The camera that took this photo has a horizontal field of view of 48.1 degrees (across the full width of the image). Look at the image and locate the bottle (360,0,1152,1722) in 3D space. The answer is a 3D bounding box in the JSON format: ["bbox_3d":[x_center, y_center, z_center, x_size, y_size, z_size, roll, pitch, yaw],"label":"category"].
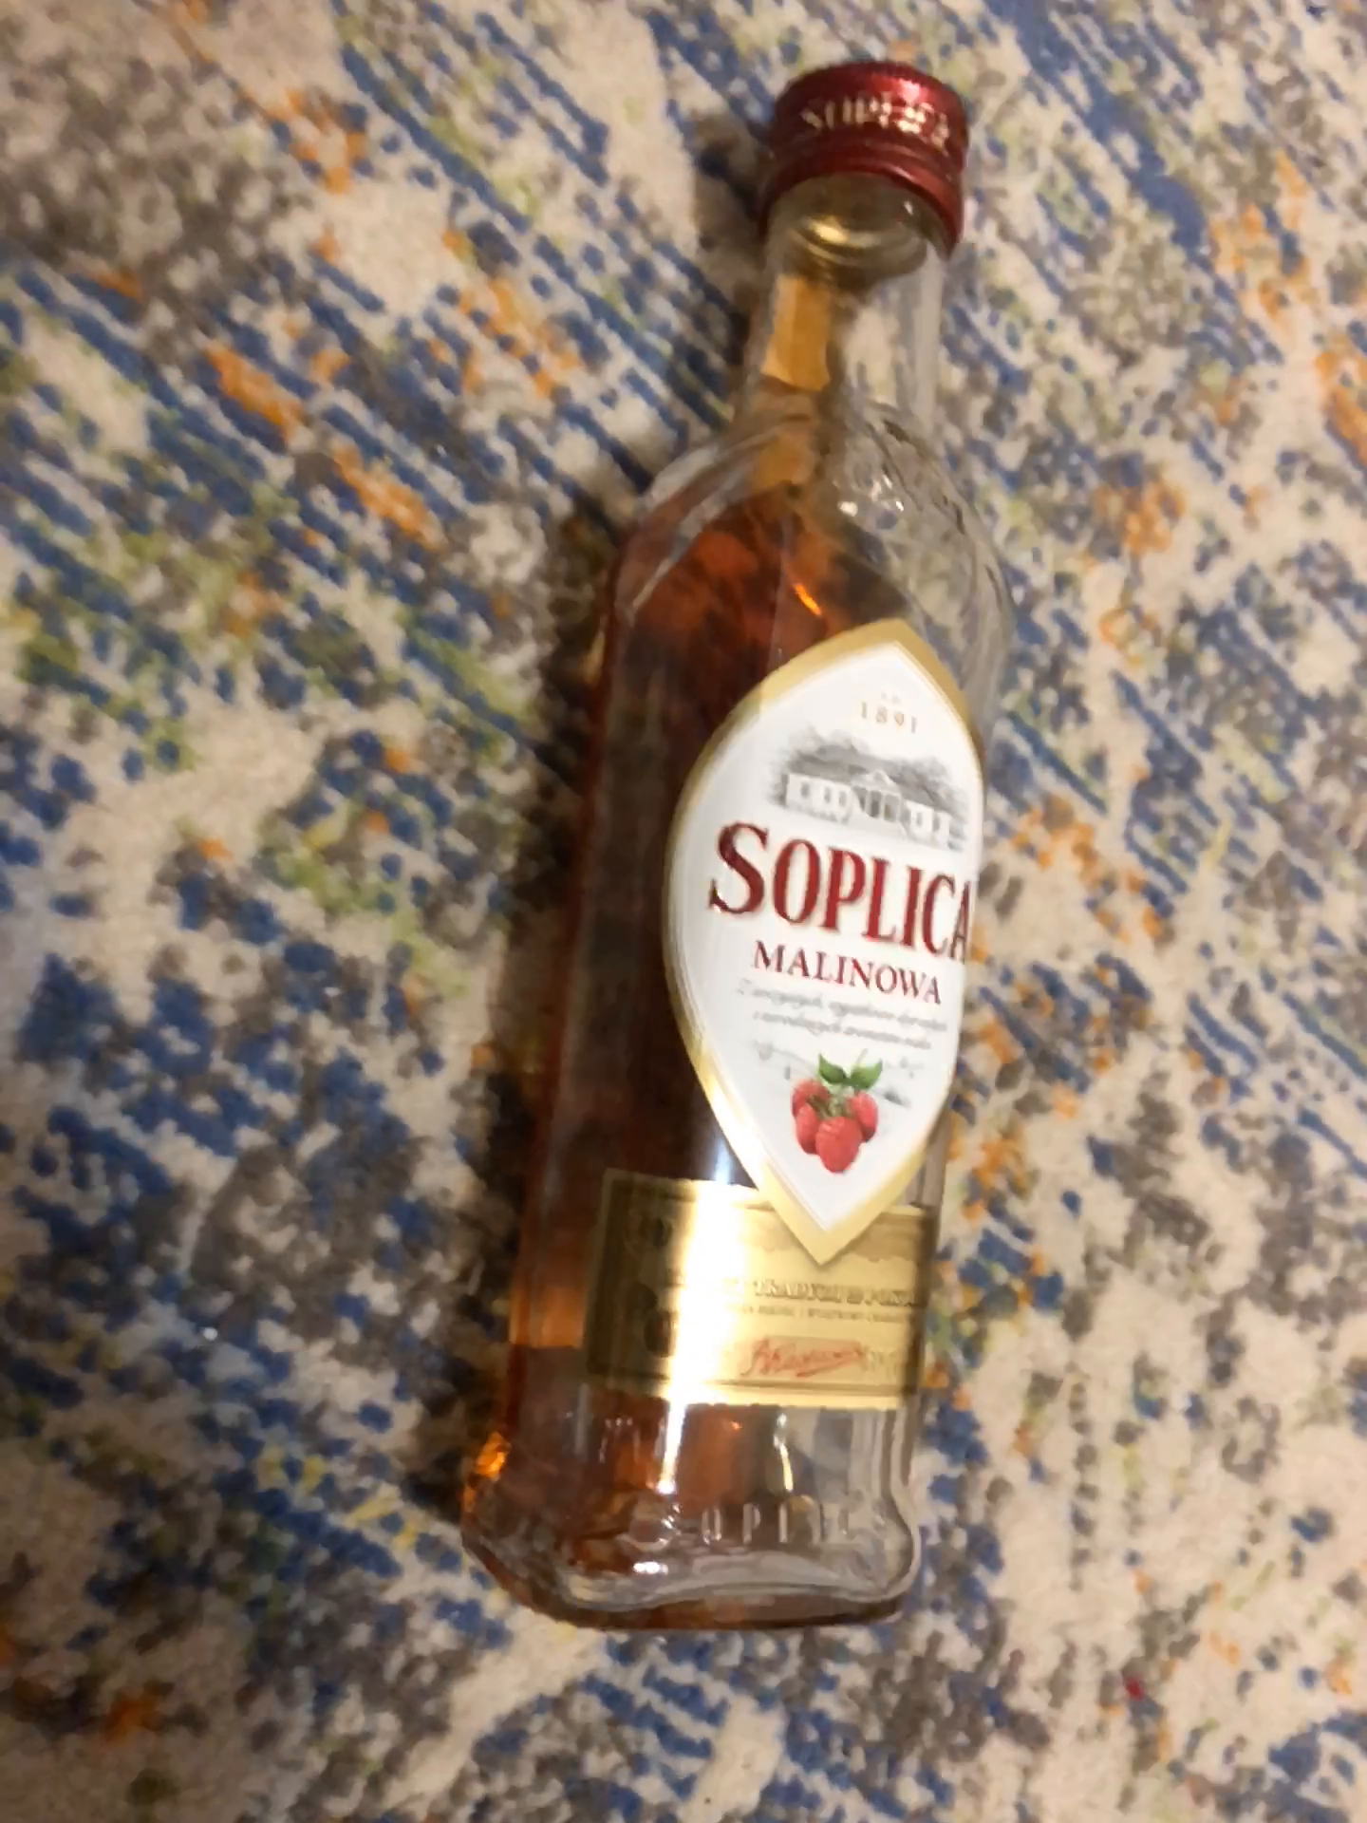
[{"bbox_3d":[0.012,-0.021,0.190,0.060,0.040,0.210,12,81,-28],"label":"bottle"}]
